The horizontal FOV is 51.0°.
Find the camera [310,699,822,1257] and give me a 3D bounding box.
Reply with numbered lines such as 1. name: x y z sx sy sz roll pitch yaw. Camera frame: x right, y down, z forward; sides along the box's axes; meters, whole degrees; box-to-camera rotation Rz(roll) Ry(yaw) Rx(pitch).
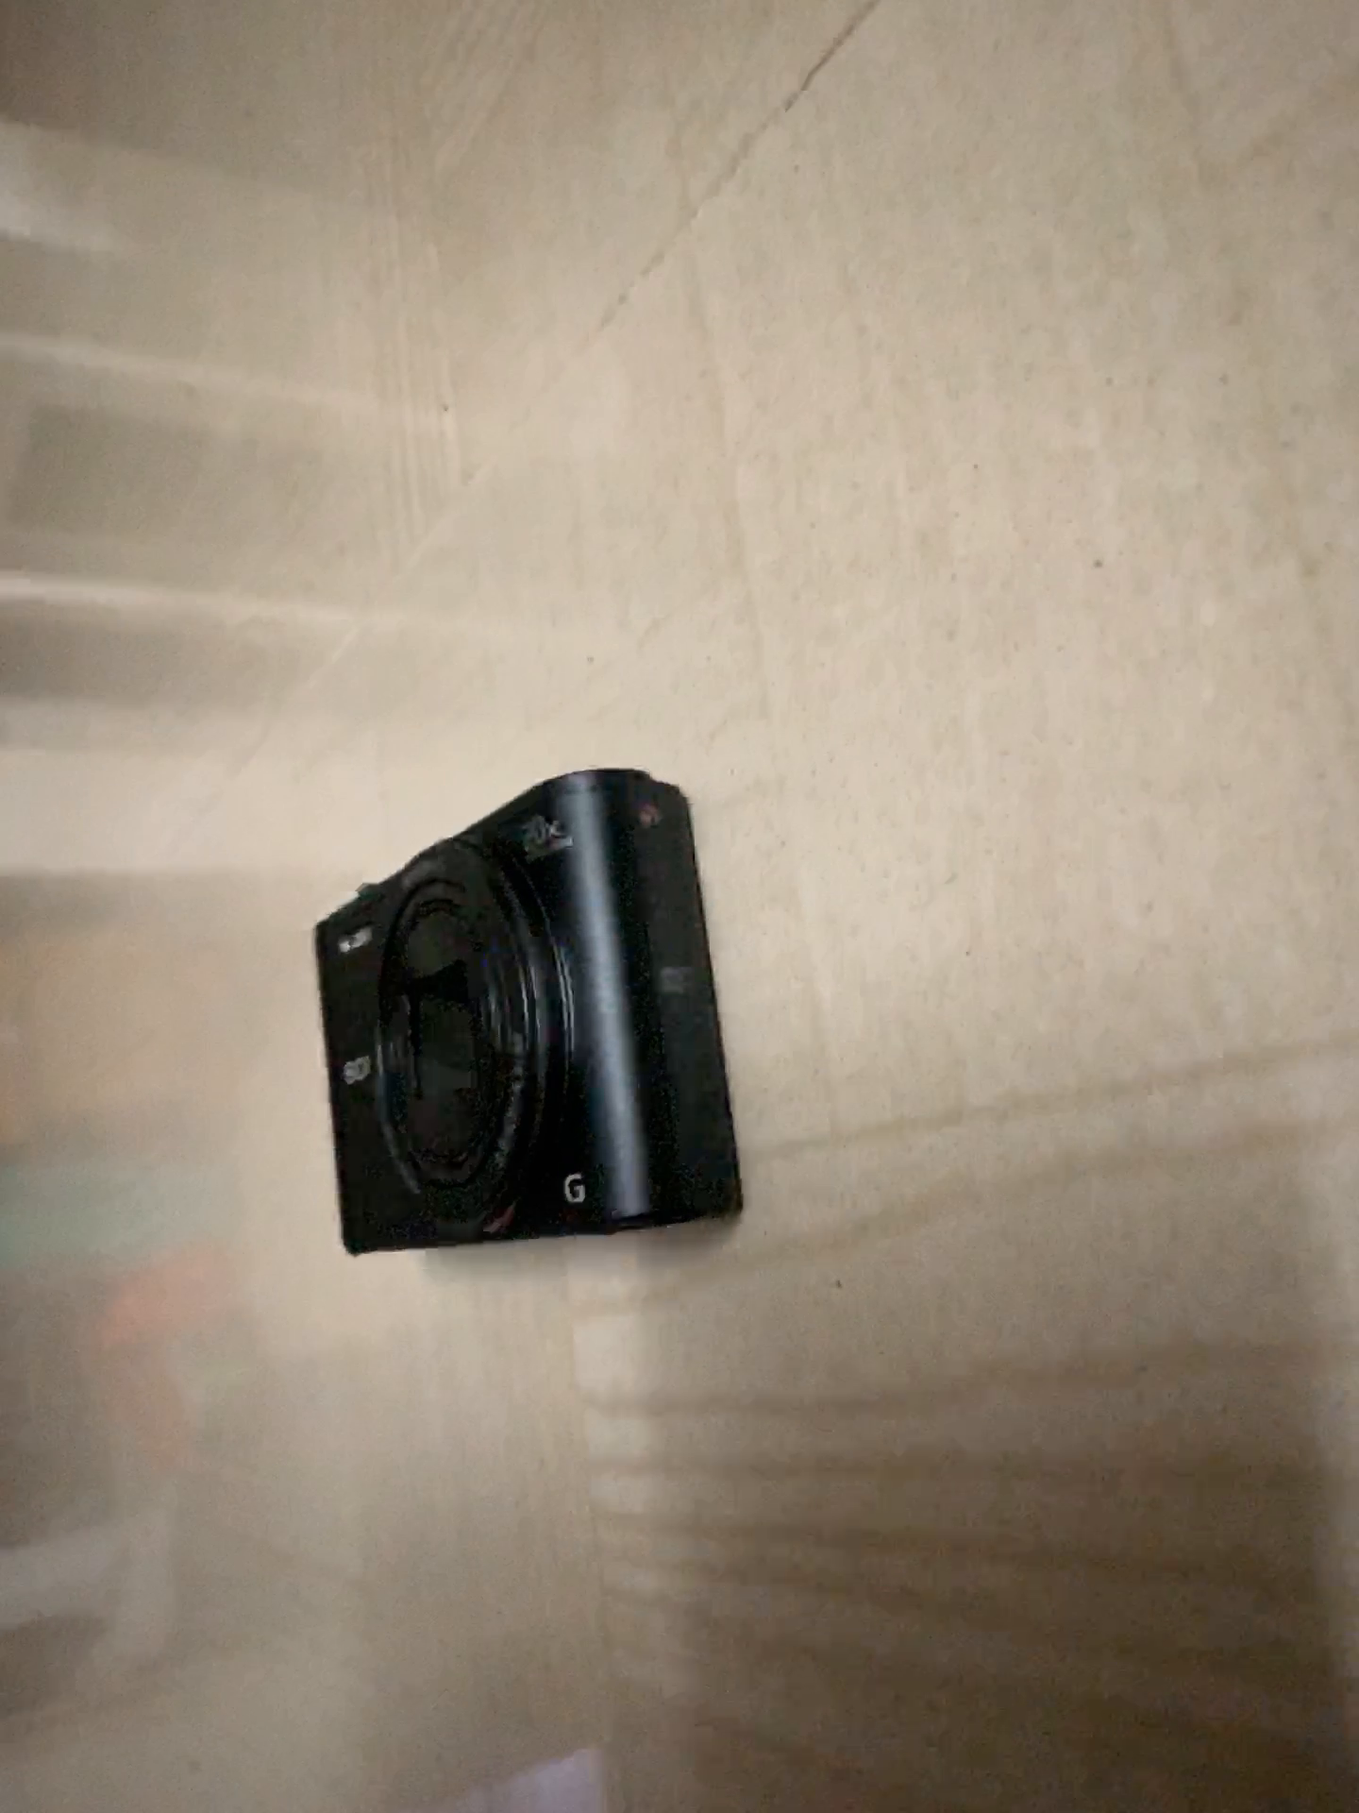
1. camera: -0.023 0.016 0.199 0.093 0.024 0.060 -23 72 56
